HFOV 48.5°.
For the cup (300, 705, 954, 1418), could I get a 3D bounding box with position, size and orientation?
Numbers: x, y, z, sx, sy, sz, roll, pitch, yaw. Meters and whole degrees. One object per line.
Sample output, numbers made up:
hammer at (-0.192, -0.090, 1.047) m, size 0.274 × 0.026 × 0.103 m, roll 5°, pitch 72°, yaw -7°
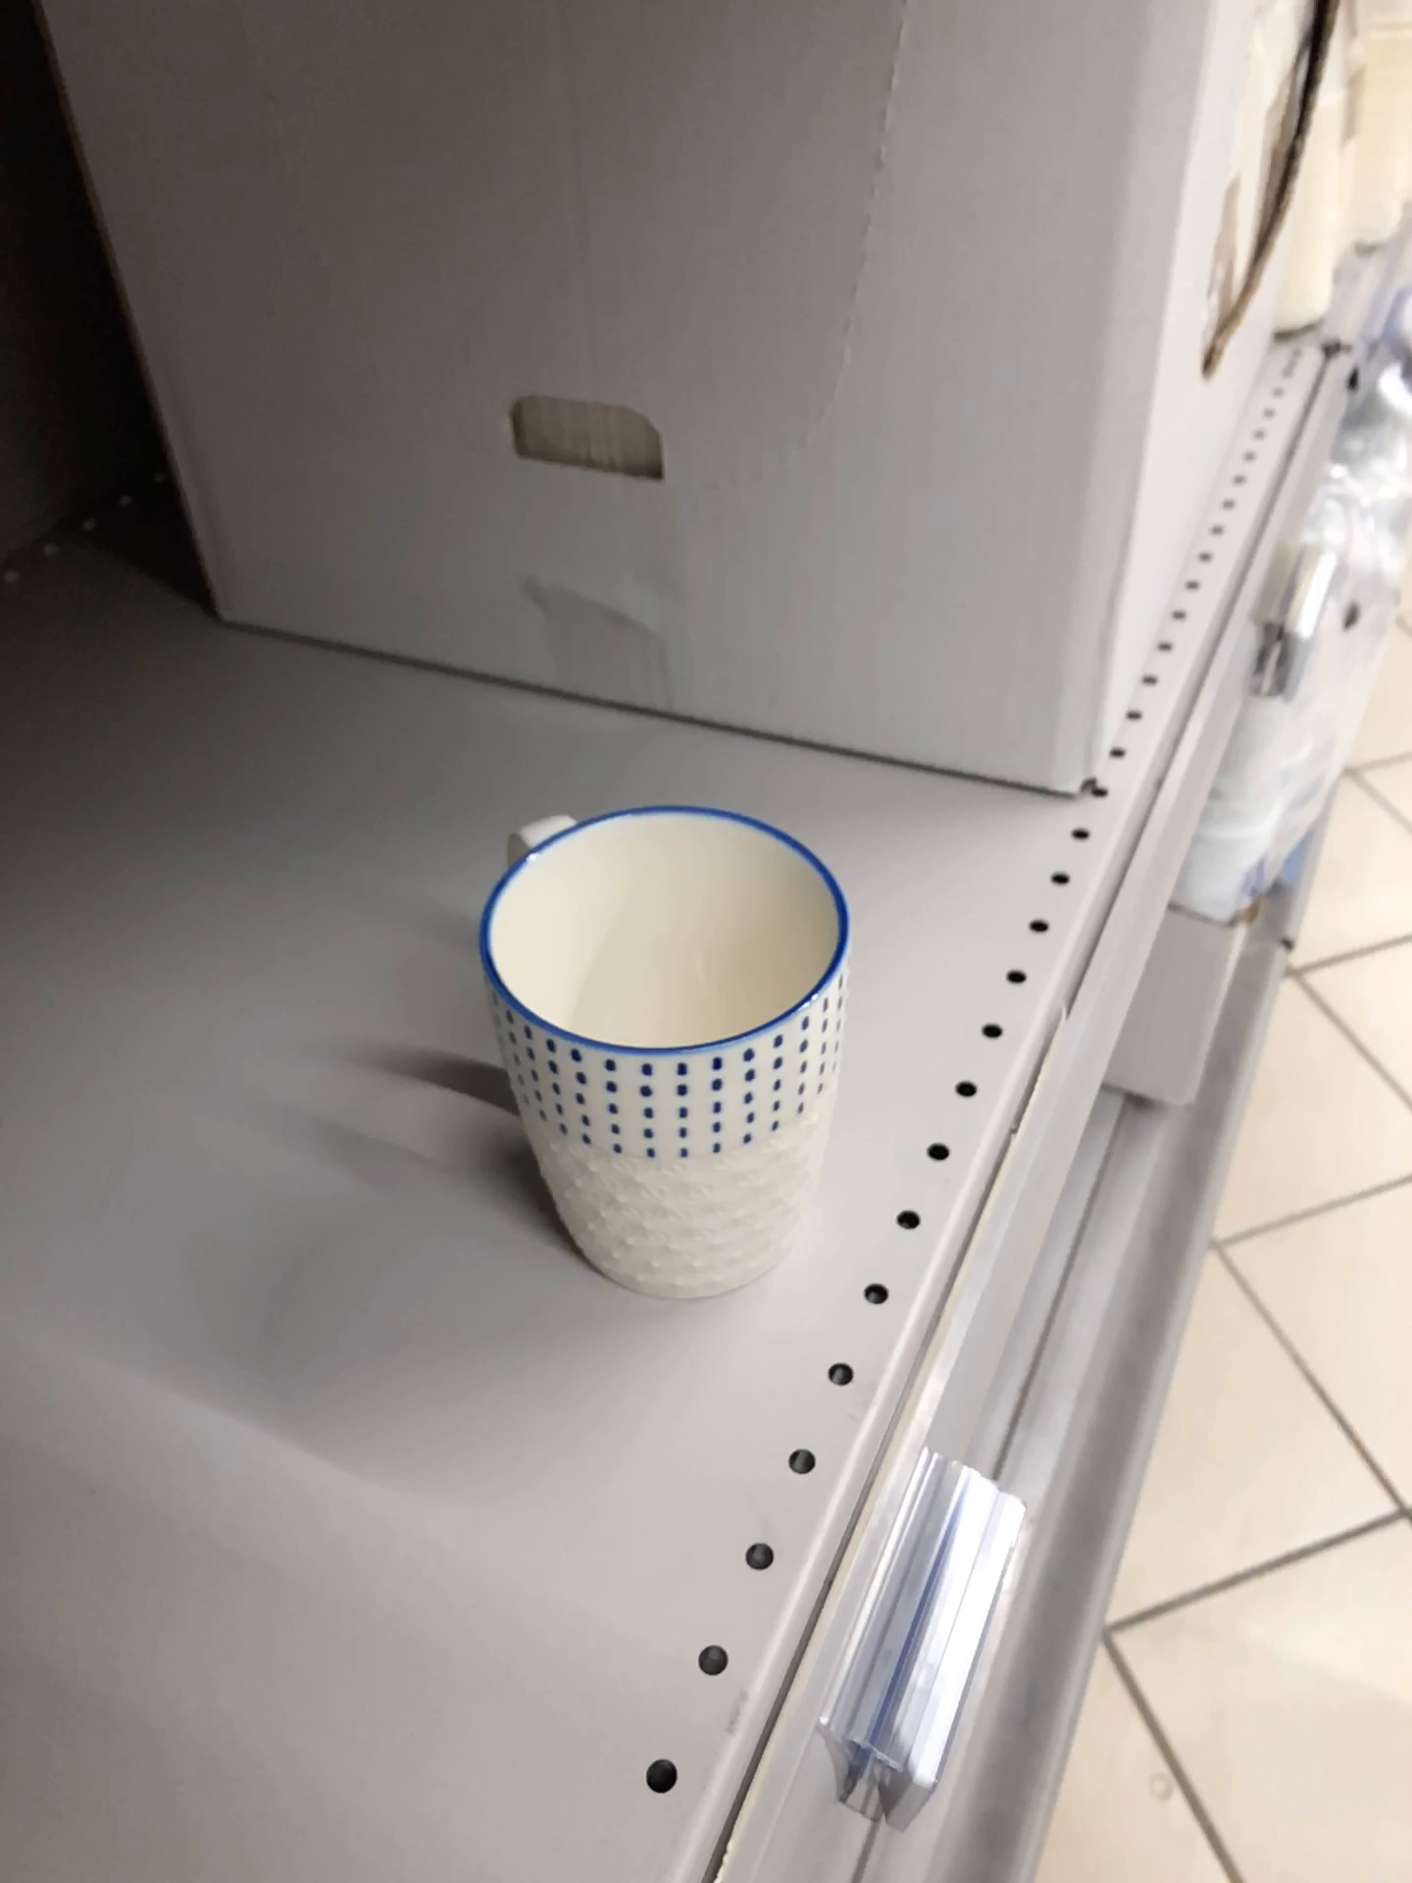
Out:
cup at (-0.019, 0.024, 0.392) m, size 0.097 × 0.096 × 0.119 m, roll -32°, pitch 50°, yaw -28°
